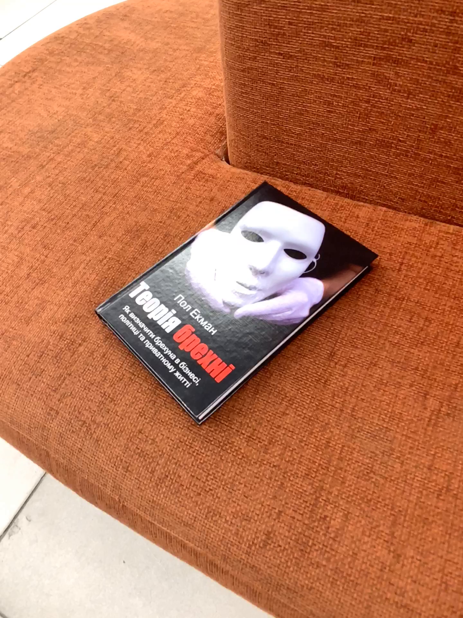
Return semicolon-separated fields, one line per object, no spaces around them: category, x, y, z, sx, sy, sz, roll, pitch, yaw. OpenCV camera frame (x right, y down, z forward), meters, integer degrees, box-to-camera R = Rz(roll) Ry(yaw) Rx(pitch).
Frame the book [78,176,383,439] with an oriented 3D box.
book;0.000;-0.018;0.405;0.209;0.030;0.150;-39;59;-19
